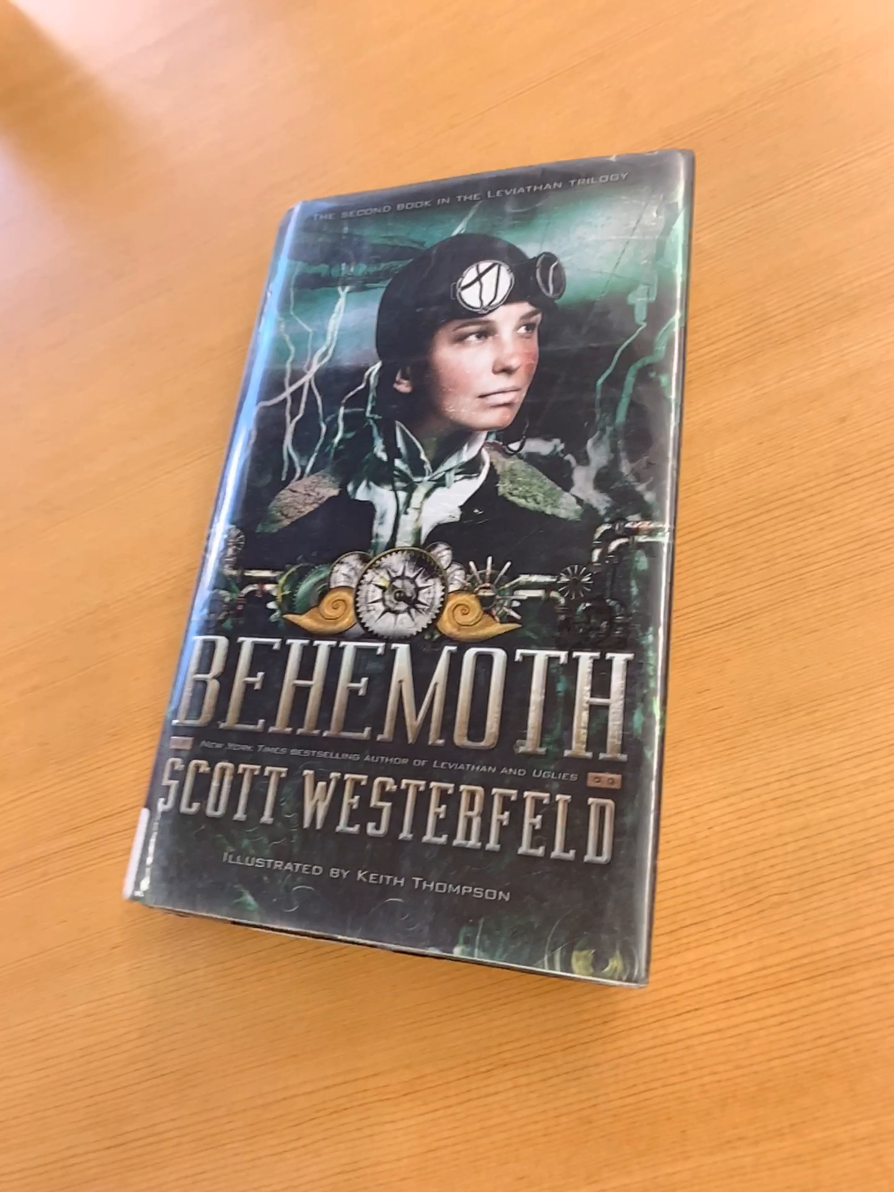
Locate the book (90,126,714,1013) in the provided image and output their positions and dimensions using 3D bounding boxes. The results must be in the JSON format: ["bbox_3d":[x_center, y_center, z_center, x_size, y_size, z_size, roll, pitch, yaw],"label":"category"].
[{"bbox_3d":[-0.003,-0.017,0.284,0.150,0.050,0.241,1,71,21],"label":"book"}]
